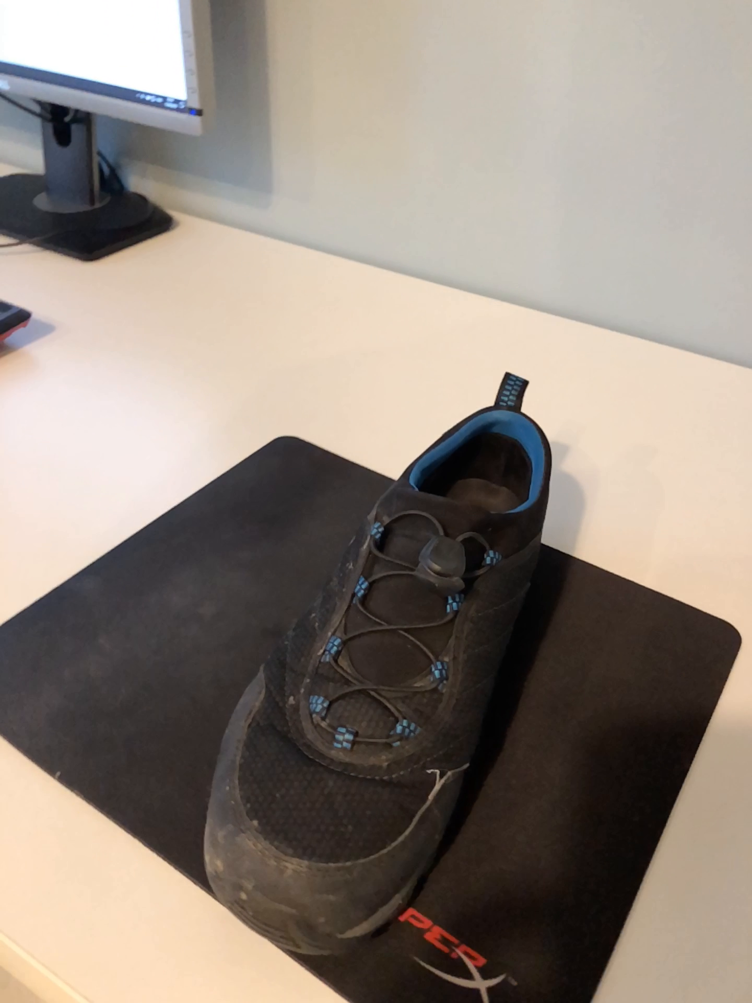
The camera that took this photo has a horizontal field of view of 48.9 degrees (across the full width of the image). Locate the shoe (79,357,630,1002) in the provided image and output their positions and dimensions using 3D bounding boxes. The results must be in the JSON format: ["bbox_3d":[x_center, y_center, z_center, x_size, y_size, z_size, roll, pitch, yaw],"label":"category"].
[{"bbox_3d":[0.018,0.056,0.410,0.130,0.109,0.302,18,41,19],"label":"shoe"}]
